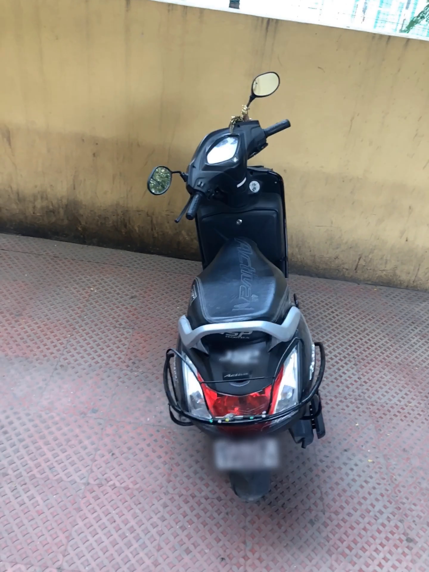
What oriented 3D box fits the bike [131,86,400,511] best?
[{"bbox_3d":[0.038,-0.103,1.999,0.592,1.044,1.593,4,34,-6],"label":"bike"}]
